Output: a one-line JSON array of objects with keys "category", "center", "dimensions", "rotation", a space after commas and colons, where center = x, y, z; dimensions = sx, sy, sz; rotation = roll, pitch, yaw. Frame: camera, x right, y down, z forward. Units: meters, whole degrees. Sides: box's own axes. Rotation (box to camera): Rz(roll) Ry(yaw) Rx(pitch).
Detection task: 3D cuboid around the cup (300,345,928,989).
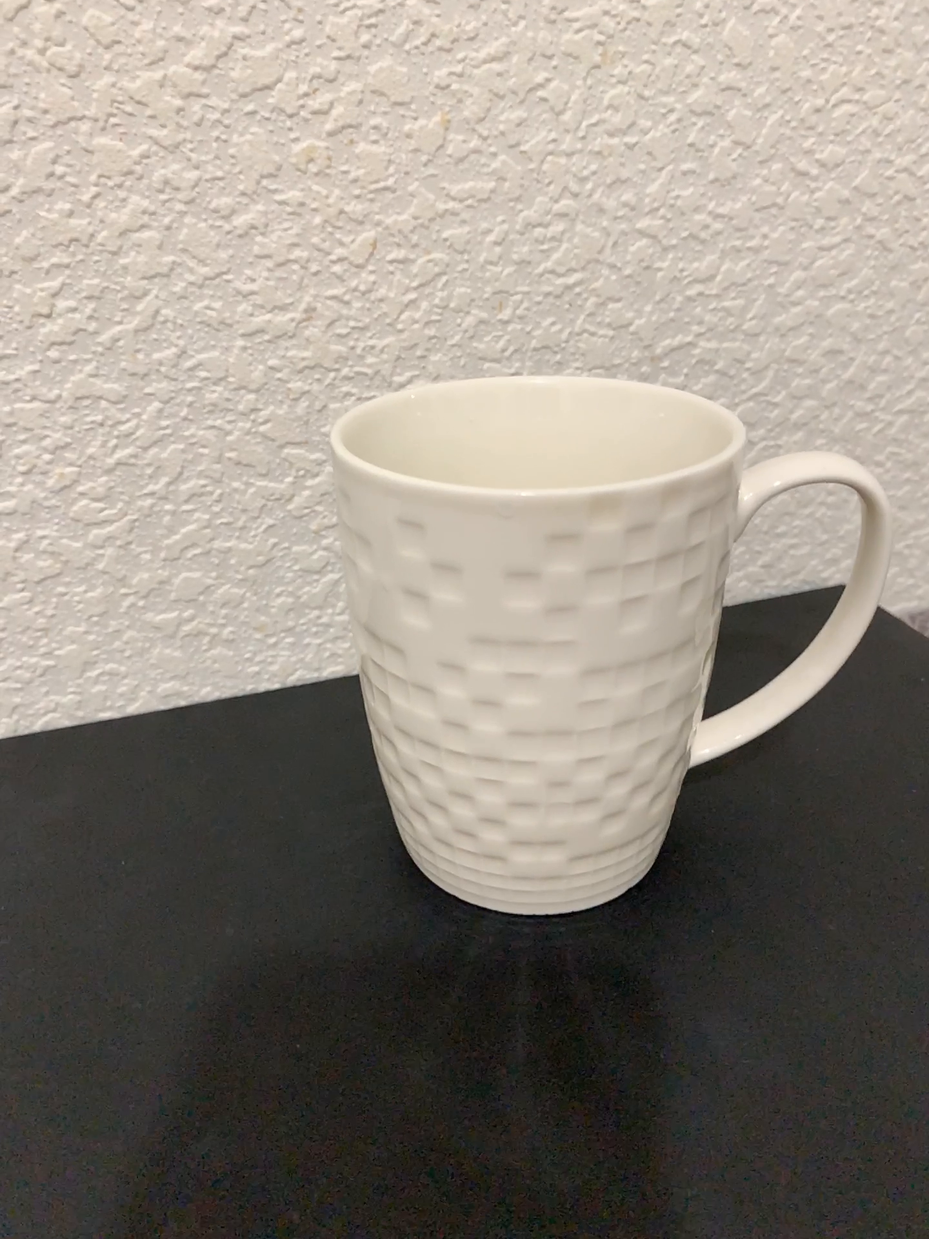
[{"category": "cup", "center": [0.030, 0.004, 0.219], "dimensions": [0.119, 0.105, 0.082], "rotation": [-7, 29, -10]}]
